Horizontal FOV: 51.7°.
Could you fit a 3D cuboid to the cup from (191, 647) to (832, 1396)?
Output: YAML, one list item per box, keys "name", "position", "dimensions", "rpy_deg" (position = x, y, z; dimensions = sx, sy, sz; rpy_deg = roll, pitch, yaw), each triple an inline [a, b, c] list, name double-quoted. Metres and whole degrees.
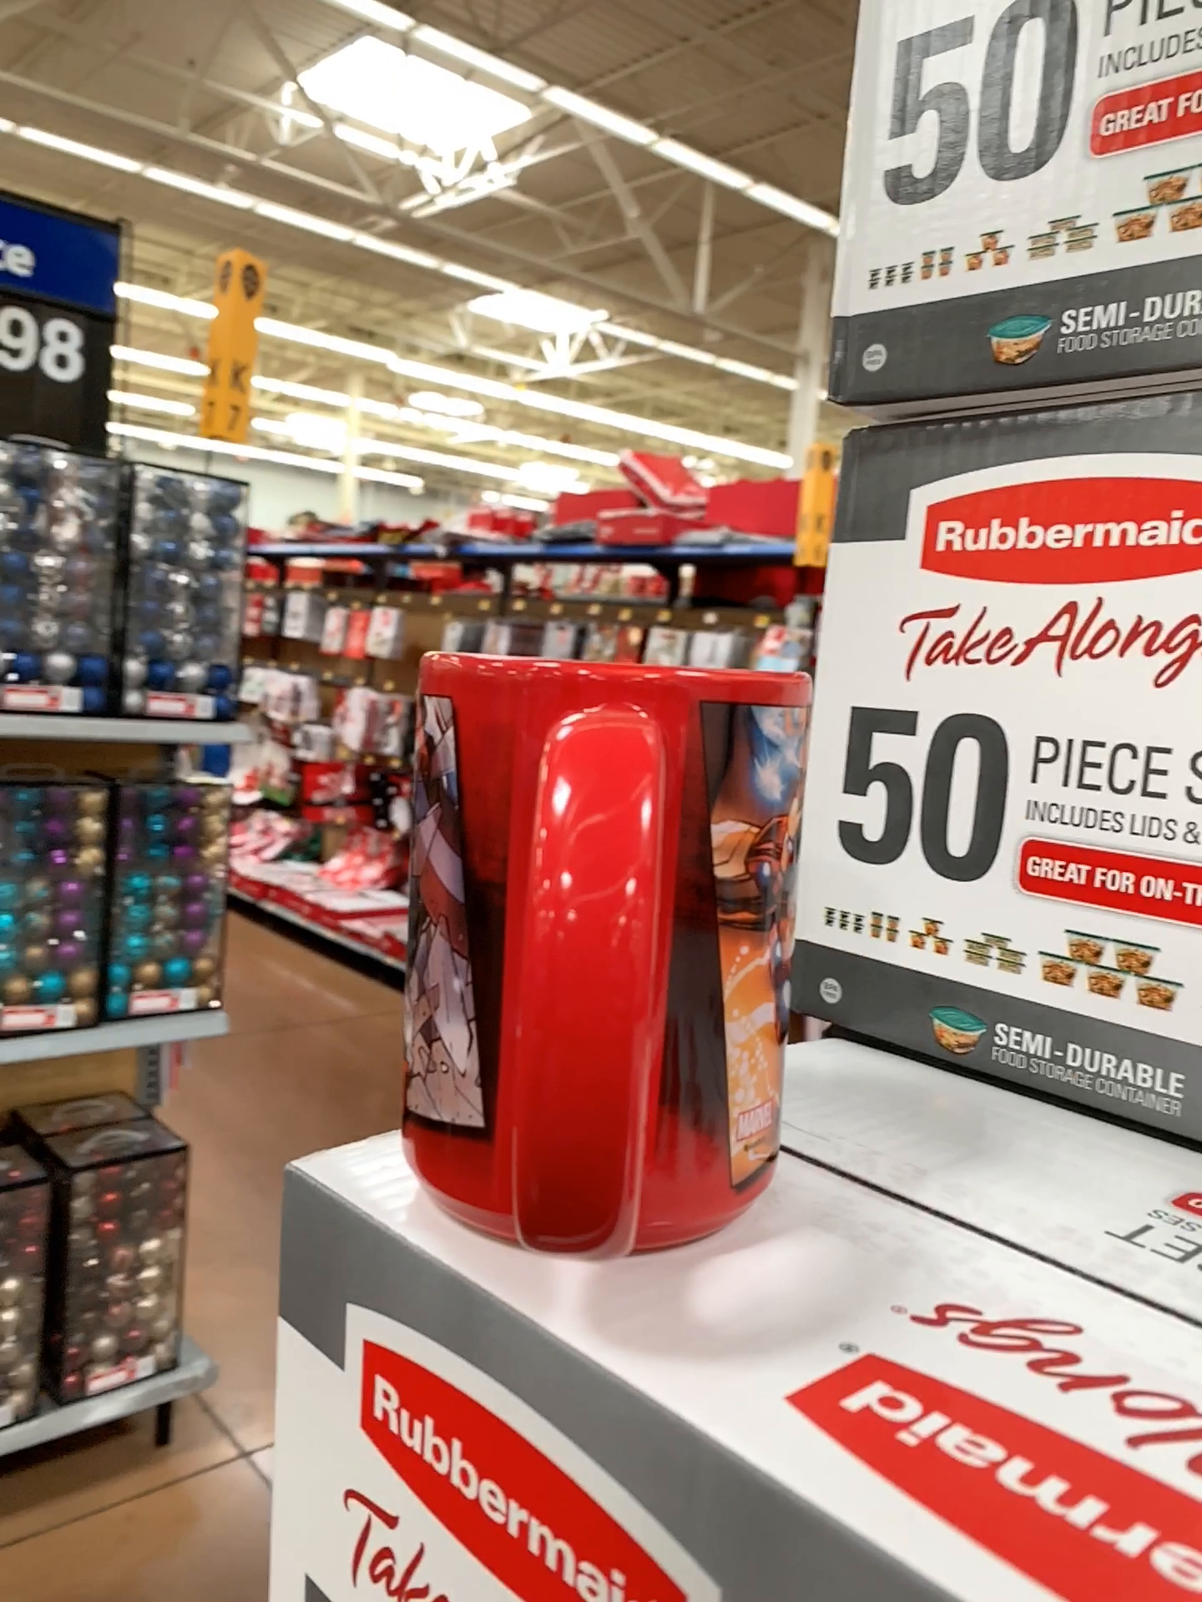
- name: "cup"
  position: [-0.006, 0.028, 0.252]
  dimensions: [0.100, 0.114, 0.119]
  rpy_deg: [1, 5, 9]
